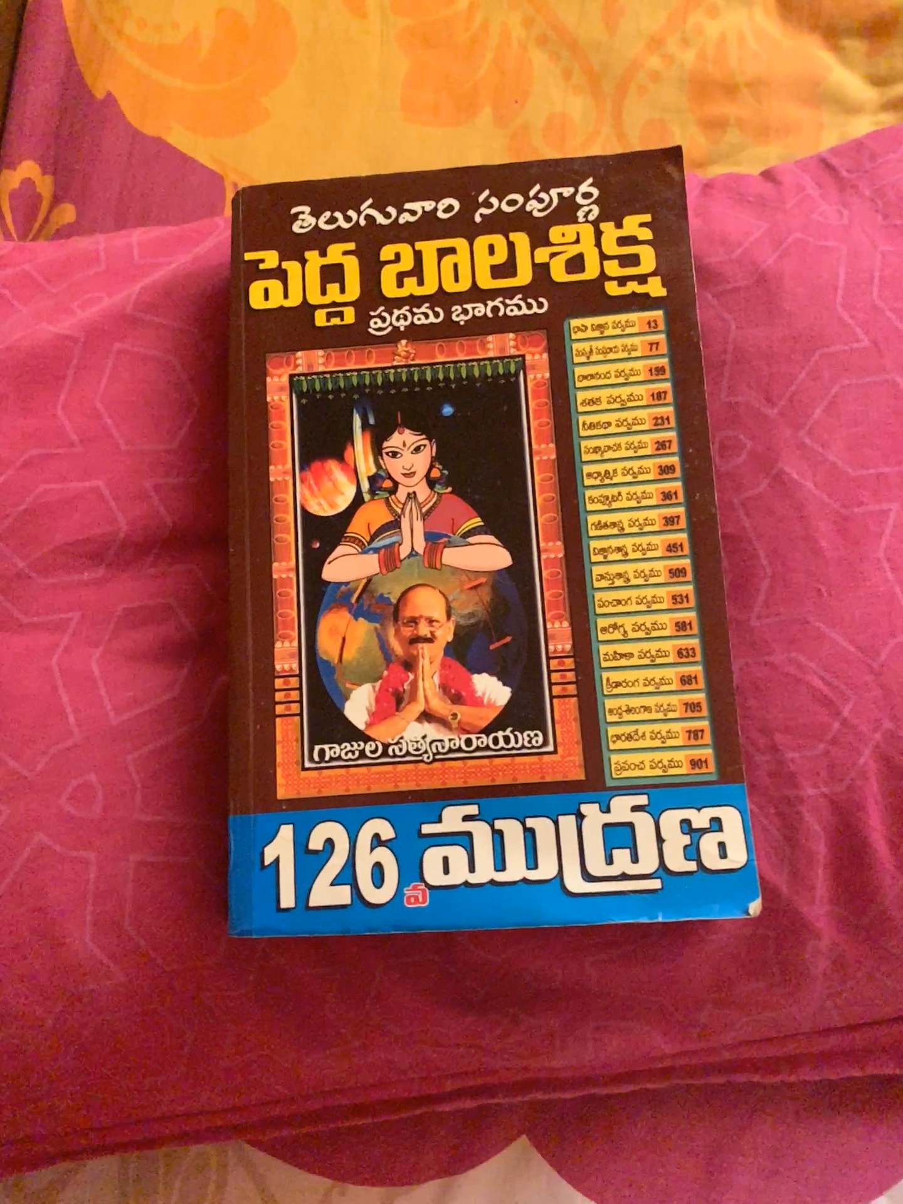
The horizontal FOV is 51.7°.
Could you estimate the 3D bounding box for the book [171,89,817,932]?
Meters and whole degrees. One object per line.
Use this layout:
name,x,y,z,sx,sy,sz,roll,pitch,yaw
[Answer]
book,0.006,-0.033,0.312,0.180,0.050,0.260,-3,77,4
